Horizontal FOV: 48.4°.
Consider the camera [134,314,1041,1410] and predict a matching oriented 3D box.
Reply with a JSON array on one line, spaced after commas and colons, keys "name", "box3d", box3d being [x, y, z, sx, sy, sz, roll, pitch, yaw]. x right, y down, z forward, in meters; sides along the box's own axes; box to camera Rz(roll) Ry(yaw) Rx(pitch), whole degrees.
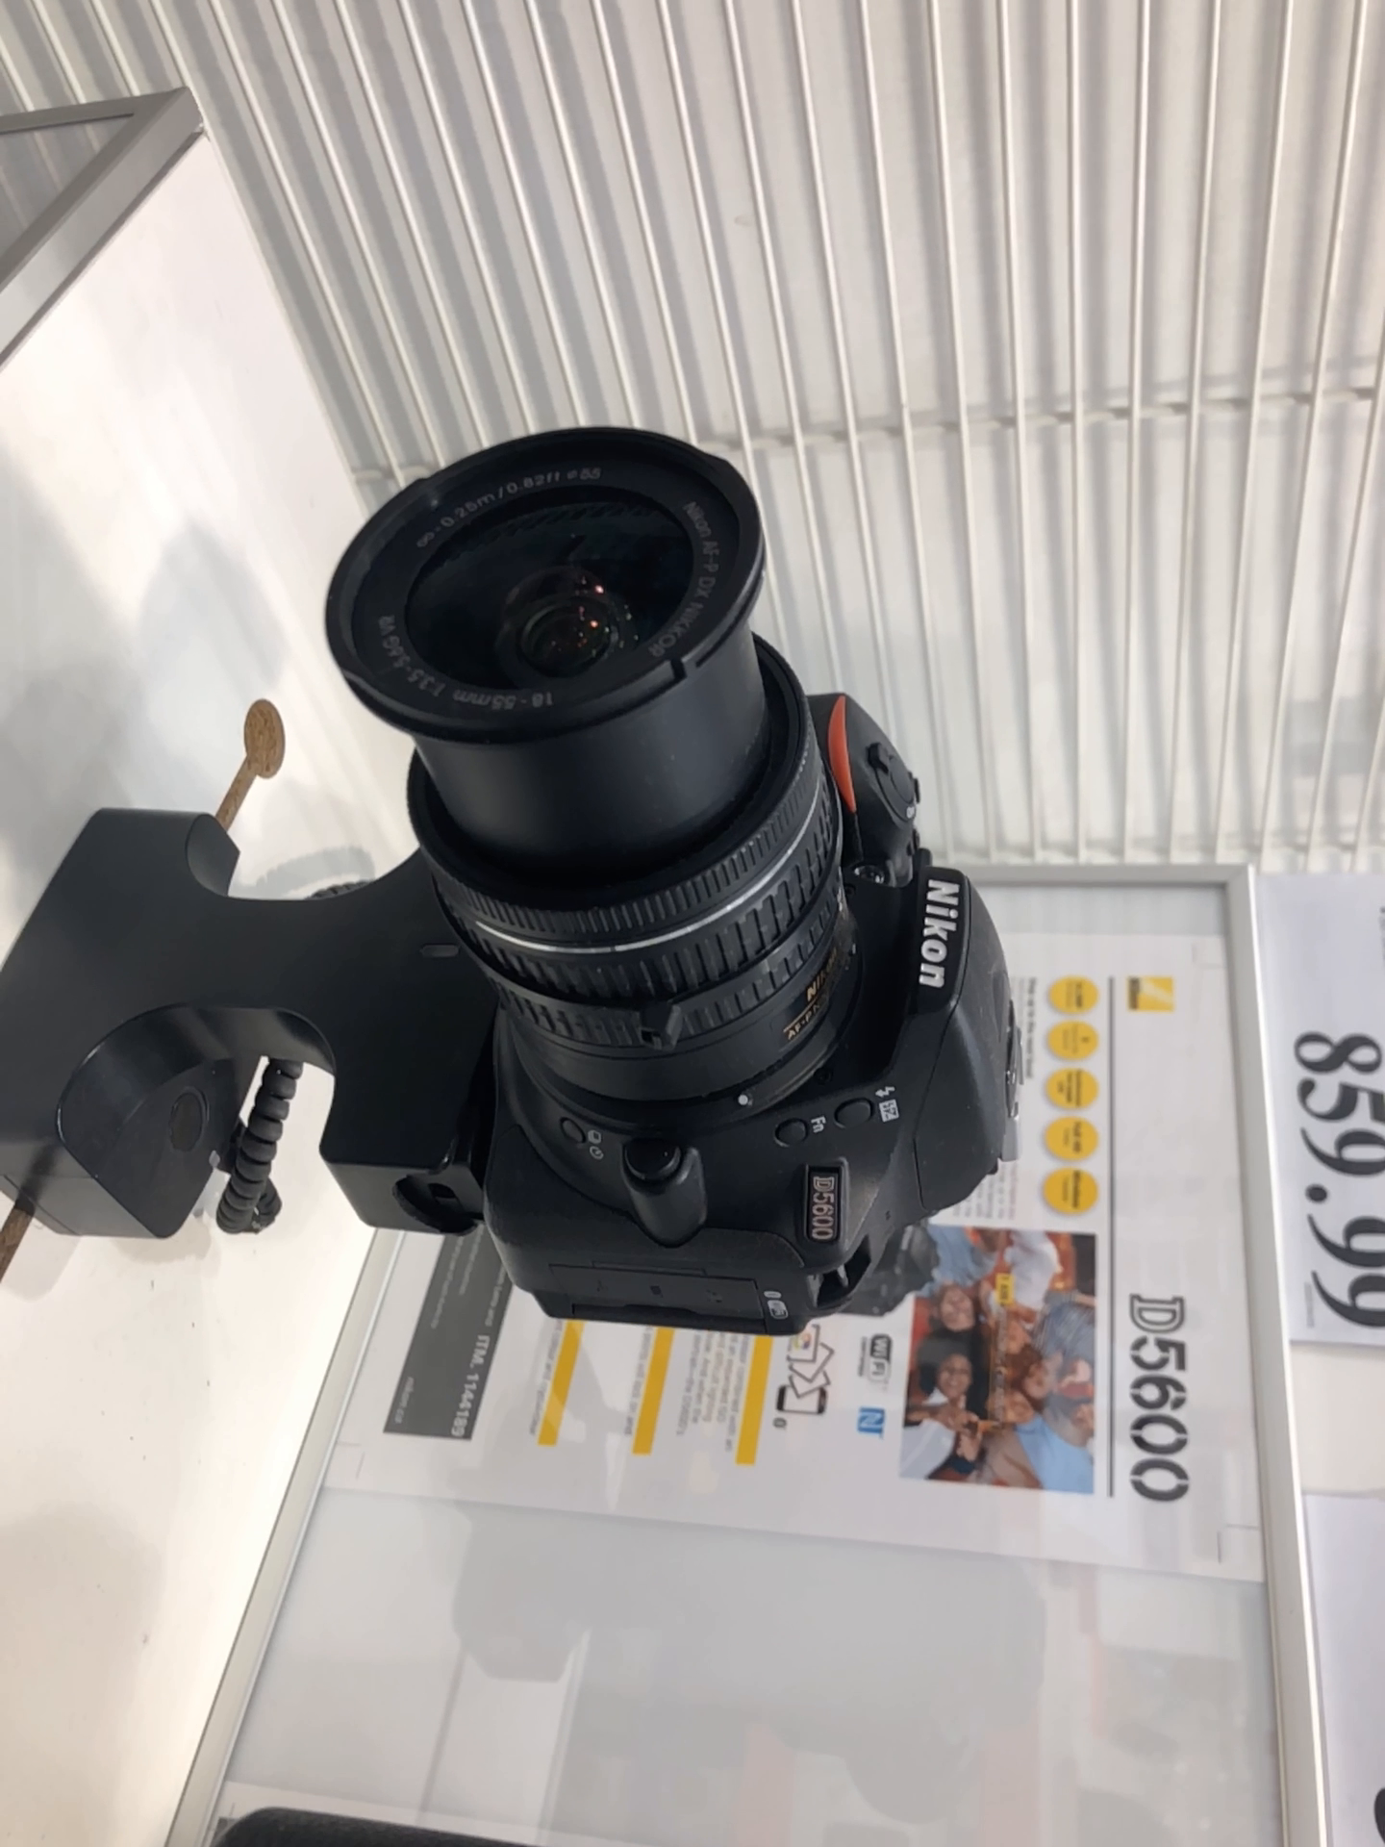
[{"name": "camera", "box3d": [0.006, 0.000, 0.282, 0.160, 0.110, 0.120, 72, 23, -53]}]
